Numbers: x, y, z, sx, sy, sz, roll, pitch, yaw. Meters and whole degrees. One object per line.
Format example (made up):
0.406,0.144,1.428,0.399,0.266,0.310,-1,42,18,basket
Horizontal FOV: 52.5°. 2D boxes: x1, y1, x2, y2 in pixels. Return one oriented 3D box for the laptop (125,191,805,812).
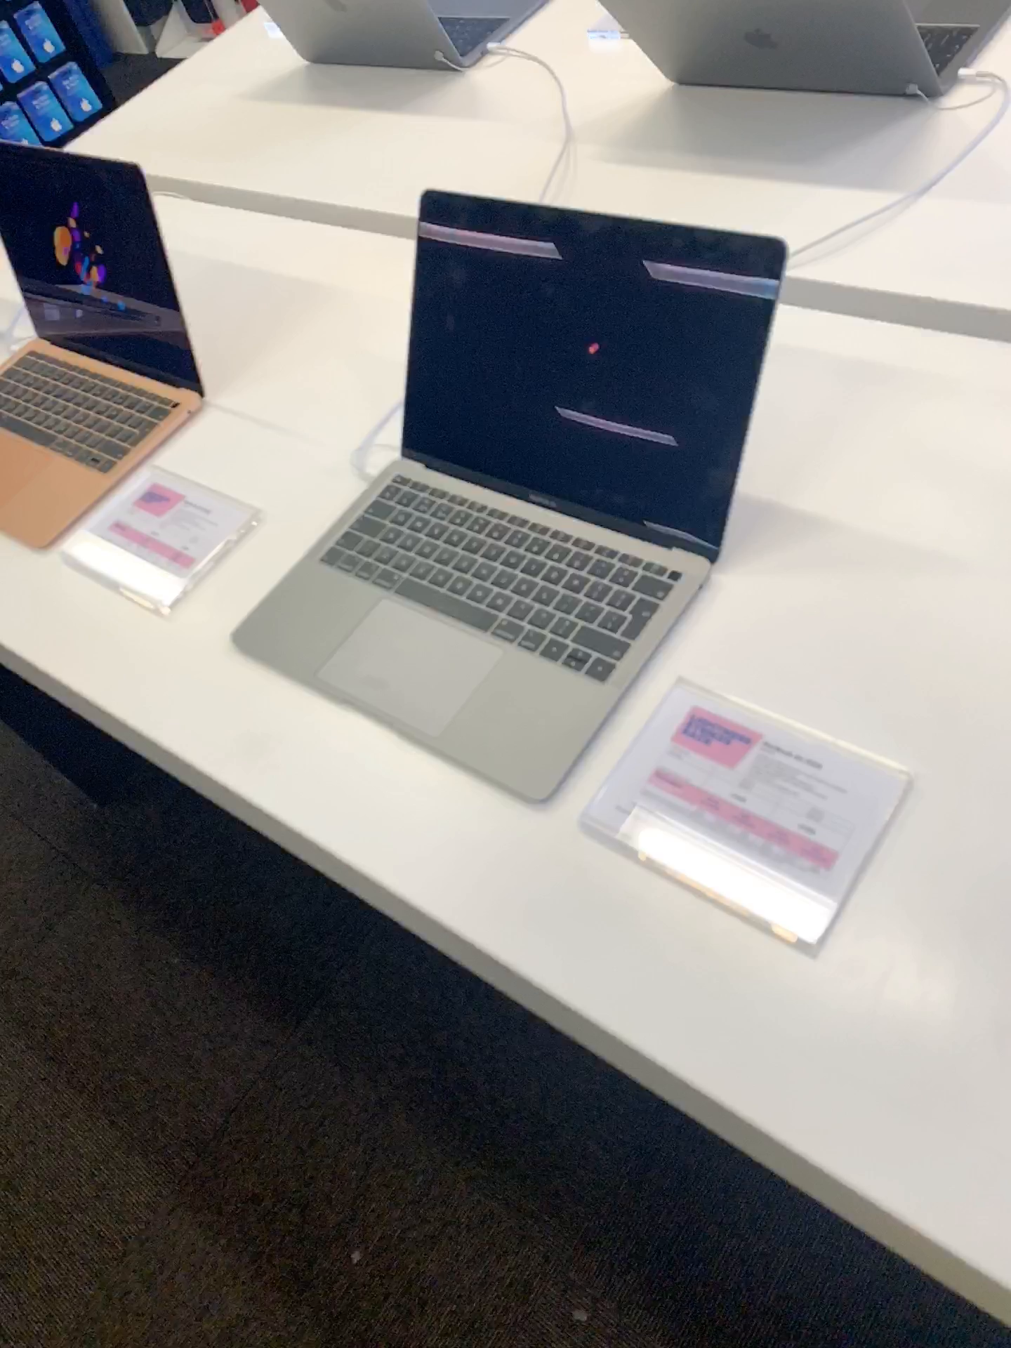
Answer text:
-0.011,-0.138,0.683,0.290,0.160,0.329,24,64,31,laptop
